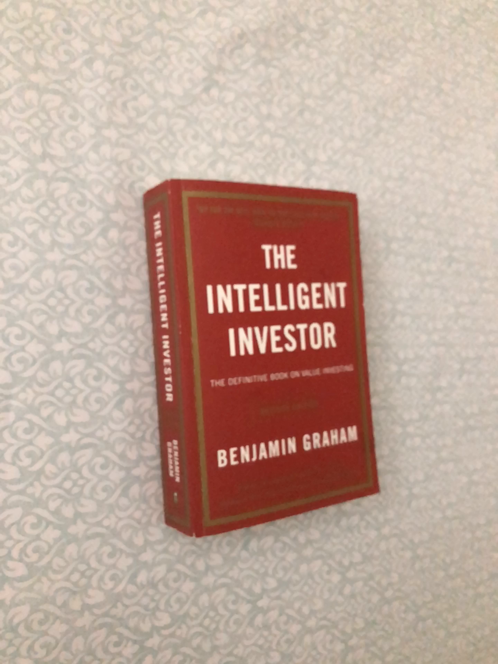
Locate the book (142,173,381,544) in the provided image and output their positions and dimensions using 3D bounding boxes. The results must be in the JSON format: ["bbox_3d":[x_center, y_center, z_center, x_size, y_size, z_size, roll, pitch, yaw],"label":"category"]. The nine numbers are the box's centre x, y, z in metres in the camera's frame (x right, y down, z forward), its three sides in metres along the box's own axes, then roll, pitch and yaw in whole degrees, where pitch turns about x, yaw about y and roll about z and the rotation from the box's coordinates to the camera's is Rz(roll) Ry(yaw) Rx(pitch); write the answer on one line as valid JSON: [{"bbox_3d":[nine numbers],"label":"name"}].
[{"bbox_3d":[0.010,0.011,0.355,0.131,0.050,0.200,-4,90,-29],"label":"book"}]
